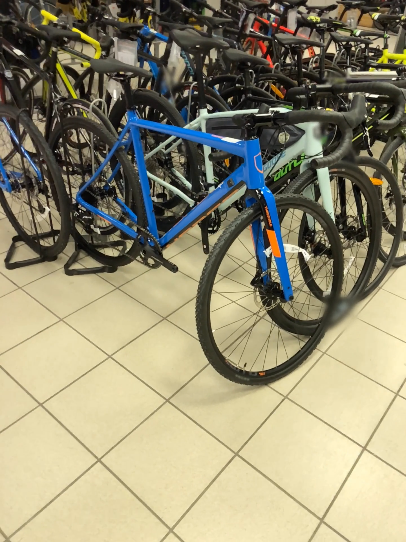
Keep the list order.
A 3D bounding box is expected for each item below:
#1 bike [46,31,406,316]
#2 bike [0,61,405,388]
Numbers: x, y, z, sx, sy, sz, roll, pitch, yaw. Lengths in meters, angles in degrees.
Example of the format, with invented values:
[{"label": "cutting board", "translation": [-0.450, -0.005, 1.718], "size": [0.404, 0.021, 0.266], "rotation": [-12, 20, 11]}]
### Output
[{"label": "bike", "translation": [0.151, -0.519, 2.117], "size": [1.422, 0.870, 0.619], "rotation": [21, 38, 19]}, {"label": "bike", "translation": [-0.075, -0.254, 1.955], "size": [1.470, 0.805, 0.527], "rotation": [24, 39, 17]}]
